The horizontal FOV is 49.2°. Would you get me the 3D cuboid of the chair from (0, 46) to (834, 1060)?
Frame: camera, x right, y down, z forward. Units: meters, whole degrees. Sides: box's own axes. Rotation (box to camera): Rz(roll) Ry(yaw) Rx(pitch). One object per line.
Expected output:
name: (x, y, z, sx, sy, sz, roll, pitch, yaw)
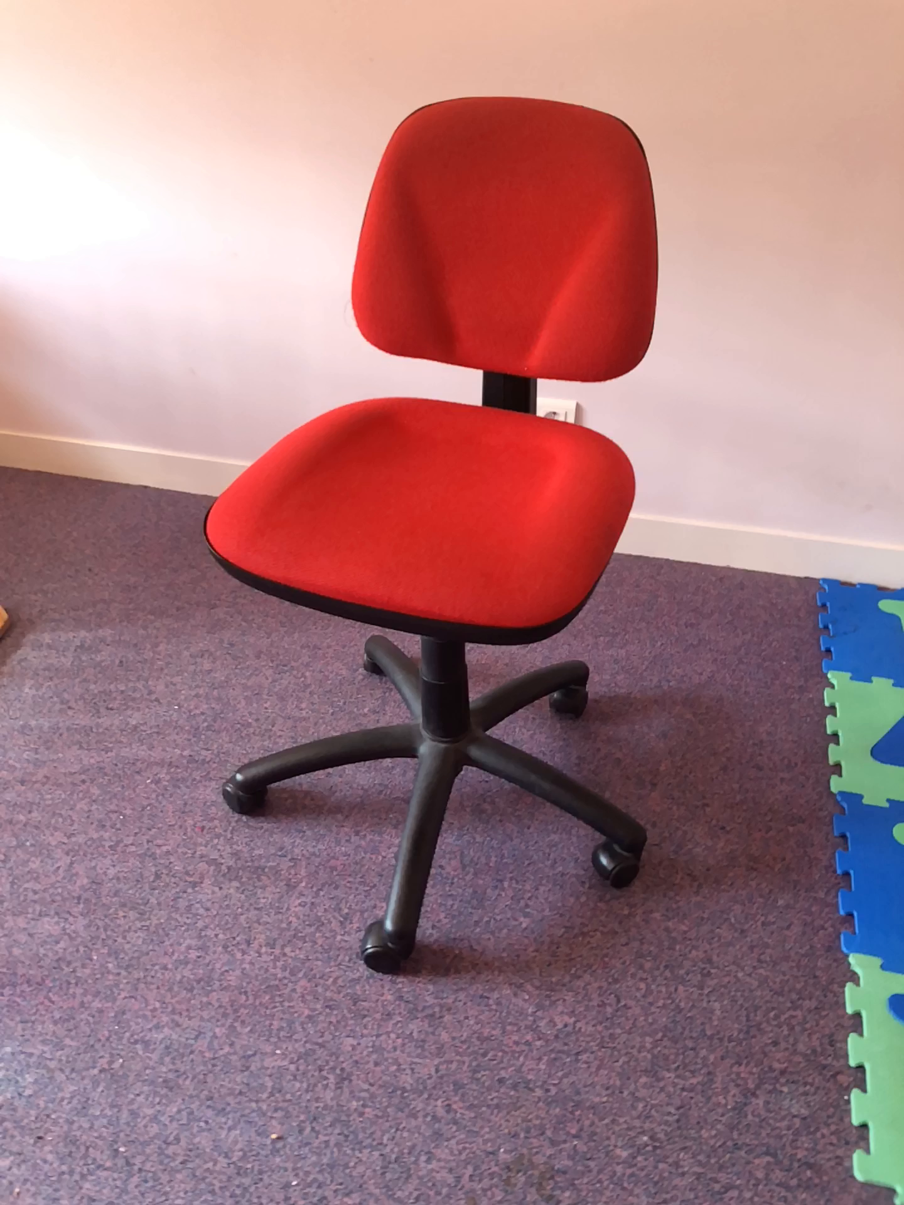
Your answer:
chair: (0.002, -0.099, 1.195, 0.639, 0.894, 0.675, 13, 39, 16)
